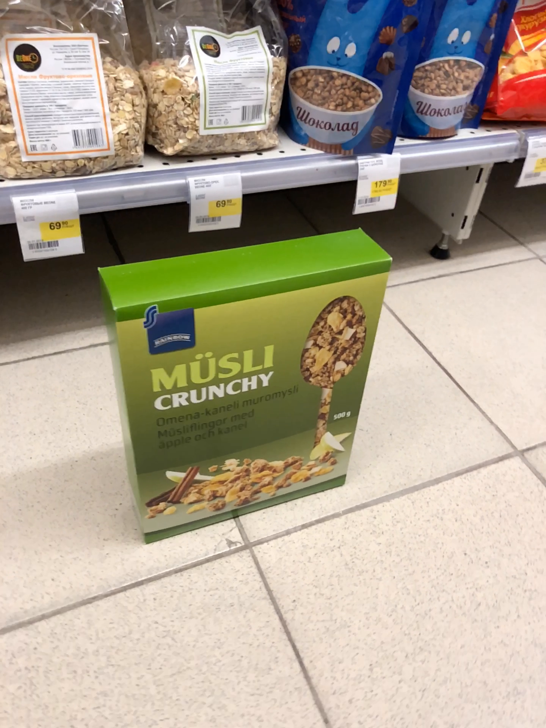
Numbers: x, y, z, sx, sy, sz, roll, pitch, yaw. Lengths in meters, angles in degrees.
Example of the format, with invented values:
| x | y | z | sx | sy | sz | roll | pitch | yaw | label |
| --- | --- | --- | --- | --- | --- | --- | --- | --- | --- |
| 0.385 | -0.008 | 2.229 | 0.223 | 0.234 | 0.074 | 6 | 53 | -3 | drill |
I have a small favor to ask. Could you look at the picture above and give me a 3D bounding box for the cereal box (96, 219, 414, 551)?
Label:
| x | y | z | sx | sy | sz | roll | pitch | yaw | label |
| --- | --- | --- | --- | --- | --- | --- | --- | --- | --- |
| -0.016 | 0.025 | 0.467 | 0.200 | 0.248 | 0.050 | -12 | 43 | -19 | cereal box |
